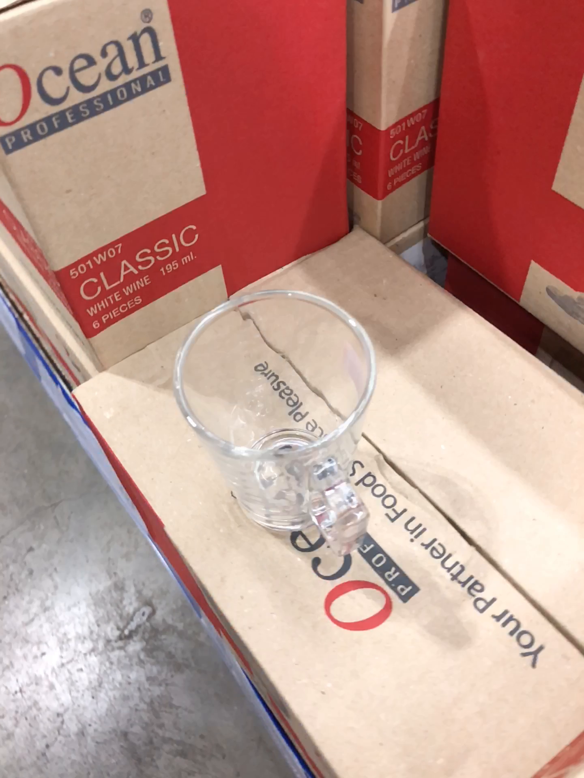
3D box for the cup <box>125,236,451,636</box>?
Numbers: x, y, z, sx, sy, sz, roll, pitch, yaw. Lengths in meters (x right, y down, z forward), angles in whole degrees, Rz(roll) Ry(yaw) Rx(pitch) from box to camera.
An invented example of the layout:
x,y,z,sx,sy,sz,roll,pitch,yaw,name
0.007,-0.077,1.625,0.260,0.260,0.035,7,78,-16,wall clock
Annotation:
x,y,z,sx,sy,sz,roll,pitch,yaw,name
0.000,0.020,0.211,0.060,0.100,0.070,-26,56,-12,cup
